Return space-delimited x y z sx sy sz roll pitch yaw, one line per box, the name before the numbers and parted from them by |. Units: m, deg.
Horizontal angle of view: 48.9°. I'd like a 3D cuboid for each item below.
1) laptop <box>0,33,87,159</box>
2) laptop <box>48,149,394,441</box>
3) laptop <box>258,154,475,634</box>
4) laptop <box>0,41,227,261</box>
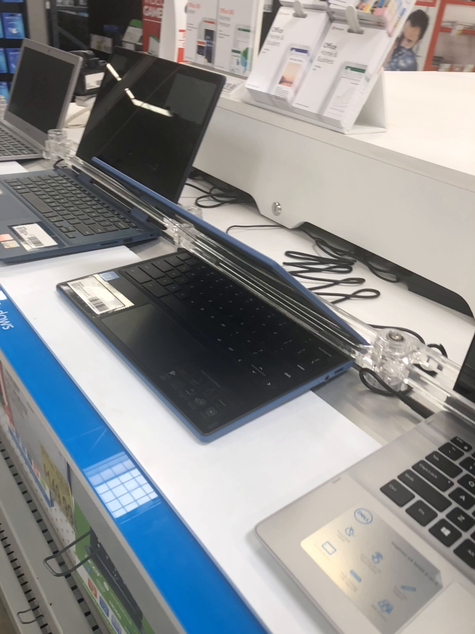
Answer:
laptop | -0.500 -0.452 1.053 0.259 0.172 0.306 -16 37 -32
laptop | -0.033 -0.052 0.511 0.186 0.128 0.281 -20 40 -34
laptop | 0.200 0.081 0.246 0.221 0.211 0.296 -18 38 -32
laptop | -0.245 -0.269 0.765 0.319 0.196 0.326 -19 39 -35
